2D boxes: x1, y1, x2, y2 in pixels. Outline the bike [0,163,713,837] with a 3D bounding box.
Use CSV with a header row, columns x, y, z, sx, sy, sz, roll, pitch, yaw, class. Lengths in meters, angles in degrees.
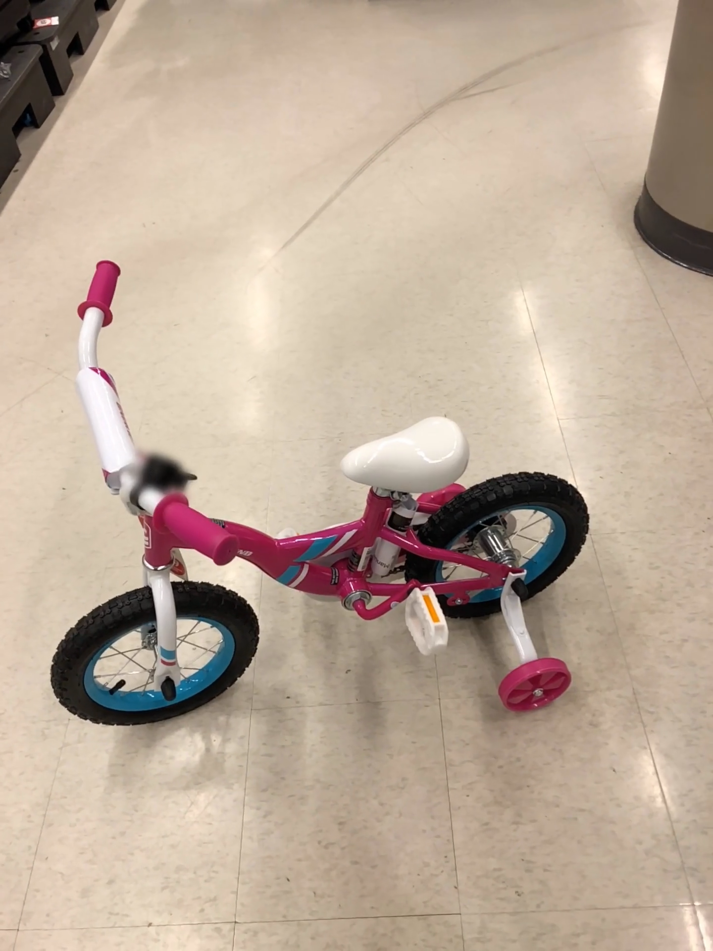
x,y,z,sx,sy,sz,roll,pitch,yaw,class
-0.064,0.034,1.060,0.814,0.624,0.463,-15,48,-10,bike
